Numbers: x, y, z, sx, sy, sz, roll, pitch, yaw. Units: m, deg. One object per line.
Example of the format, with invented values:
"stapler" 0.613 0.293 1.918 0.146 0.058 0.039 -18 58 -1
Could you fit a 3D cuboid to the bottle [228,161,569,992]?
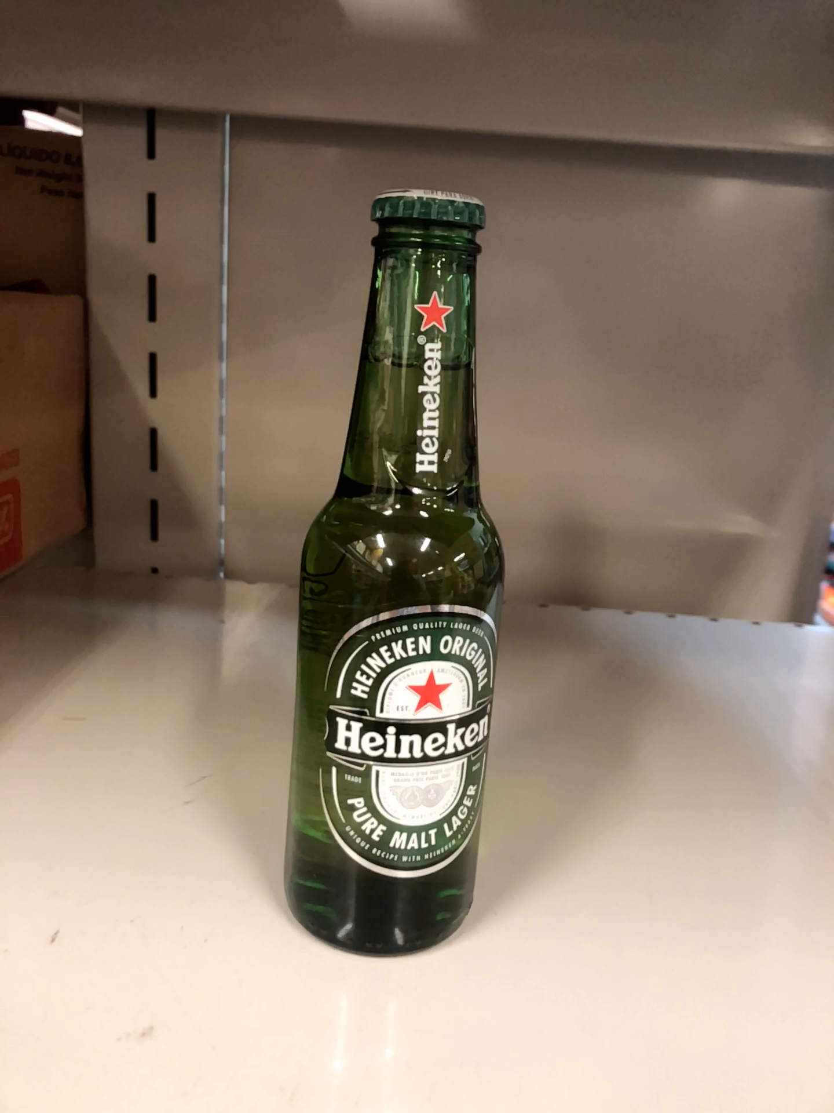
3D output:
"bottle" -0.013 0.006 0.250 0.060 0.199 0.060 4 17 -1
